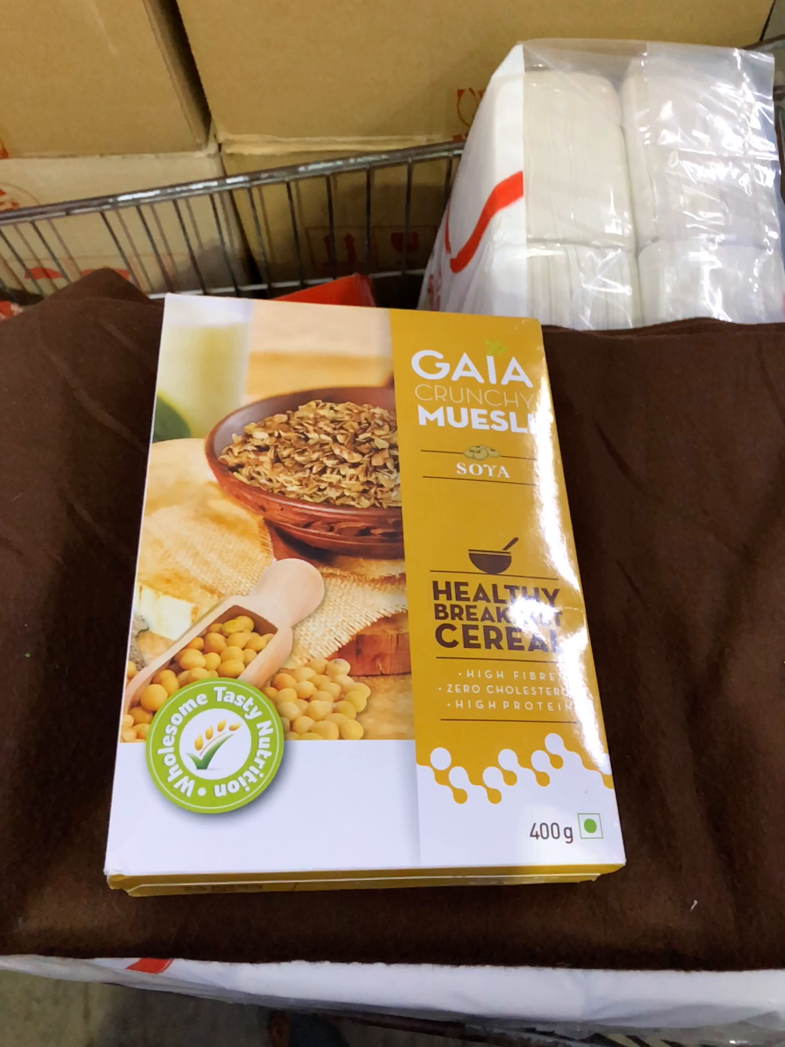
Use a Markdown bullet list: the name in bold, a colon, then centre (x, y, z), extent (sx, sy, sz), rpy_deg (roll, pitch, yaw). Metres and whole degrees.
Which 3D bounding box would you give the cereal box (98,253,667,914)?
- **cereal box**: centre (-0.008, 0.015, 0.337), extent (0.170, 0.060, 0.241), rpy_deg (2, 64, -9)
